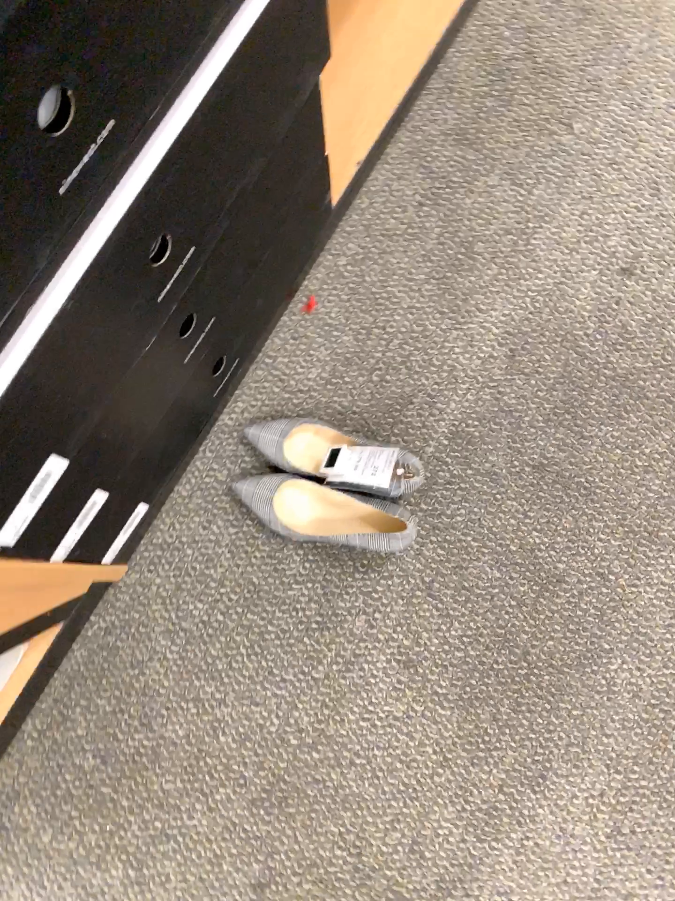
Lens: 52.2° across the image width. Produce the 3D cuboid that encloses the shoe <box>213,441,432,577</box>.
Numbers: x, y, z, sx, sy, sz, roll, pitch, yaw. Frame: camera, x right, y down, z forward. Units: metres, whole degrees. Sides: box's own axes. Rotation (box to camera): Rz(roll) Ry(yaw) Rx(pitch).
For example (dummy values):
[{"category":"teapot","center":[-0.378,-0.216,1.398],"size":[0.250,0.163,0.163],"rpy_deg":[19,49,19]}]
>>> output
[{"category":"shoe","center":[-0.016,0.078,0.850],"size":[0.230,0.150,0.090],"rpy_deg":[17,80,3]}]

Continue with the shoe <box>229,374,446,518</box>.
[{"category":"shoe","center":[0.000,0.000,0.856],"size":[0.230,0.150,0.090],"rpy_deg":[17,80,3]}]
